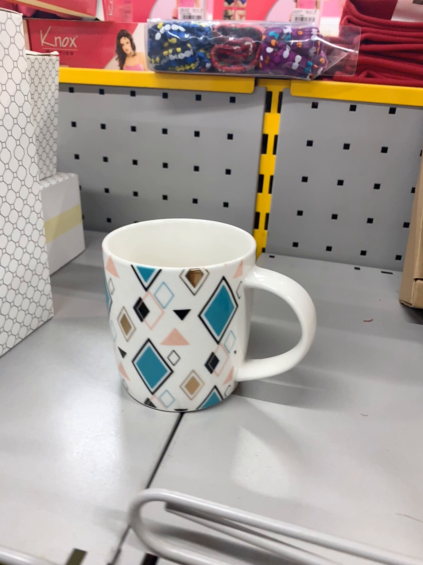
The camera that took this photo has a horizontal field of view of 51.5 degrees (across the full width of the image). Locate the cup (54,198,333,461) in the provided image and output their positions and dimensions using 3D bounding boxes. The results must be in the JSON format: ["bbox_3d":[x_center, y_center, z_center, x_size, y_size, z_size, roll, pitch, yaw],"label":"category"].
[{"bbox_3d":[-0.004,0.014,0.254,0.120,0.090,0.100,12,26,18],"label":"cup"}]
